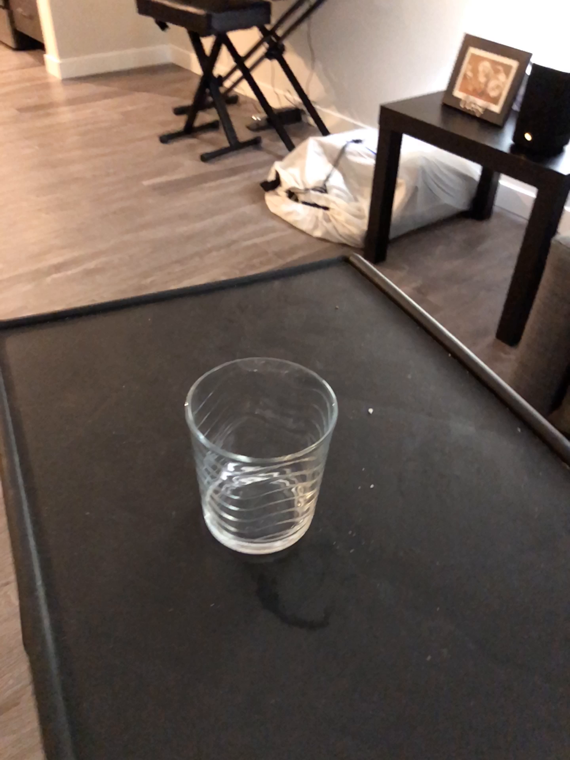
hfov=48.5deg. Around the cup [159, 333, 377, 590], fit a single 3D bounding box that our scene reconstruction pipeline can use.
[{"bbox_3d":[-0.012,0.048,0.399,0.090,0.099,0.090,1,40,-1],"label":"cup"}]
